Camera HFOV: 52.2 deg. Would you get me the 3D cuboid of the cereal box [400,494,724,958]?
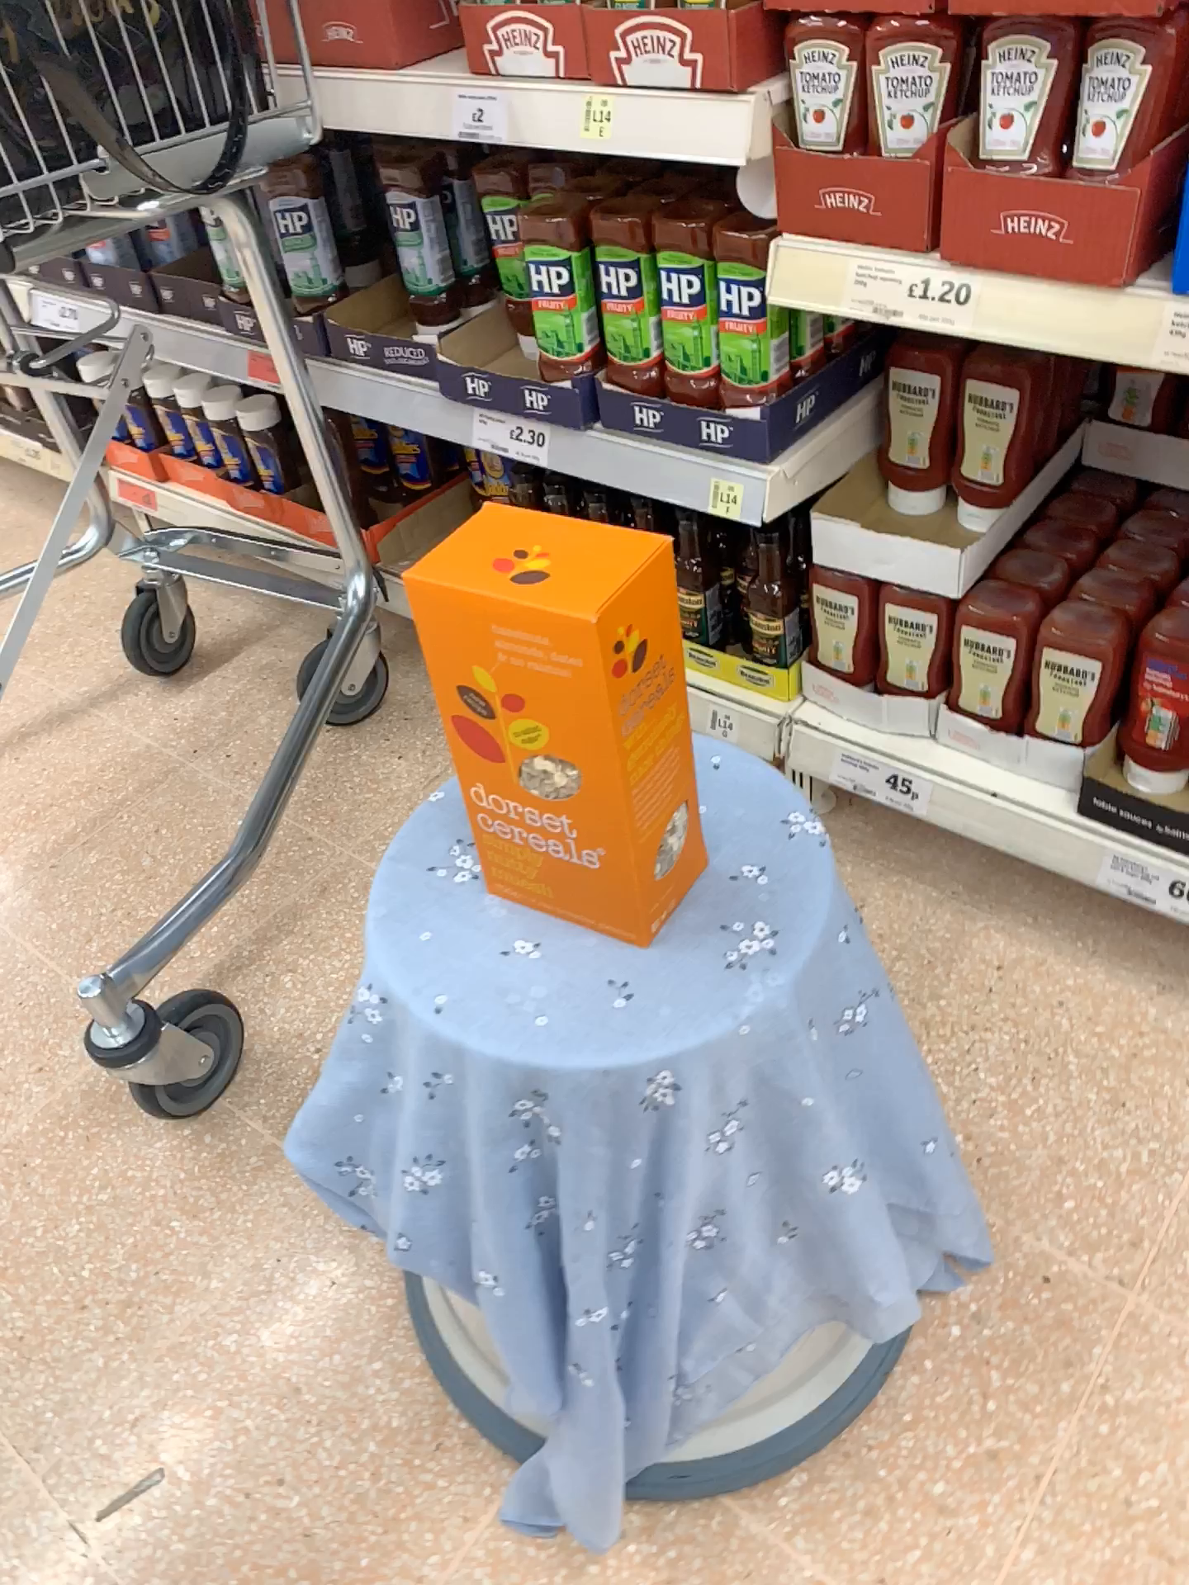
[{"bbox_3d":[-0.008,-0.033,0.675,0.120,0.228,0.091,16,47,26],"label":"cereal box"}]
